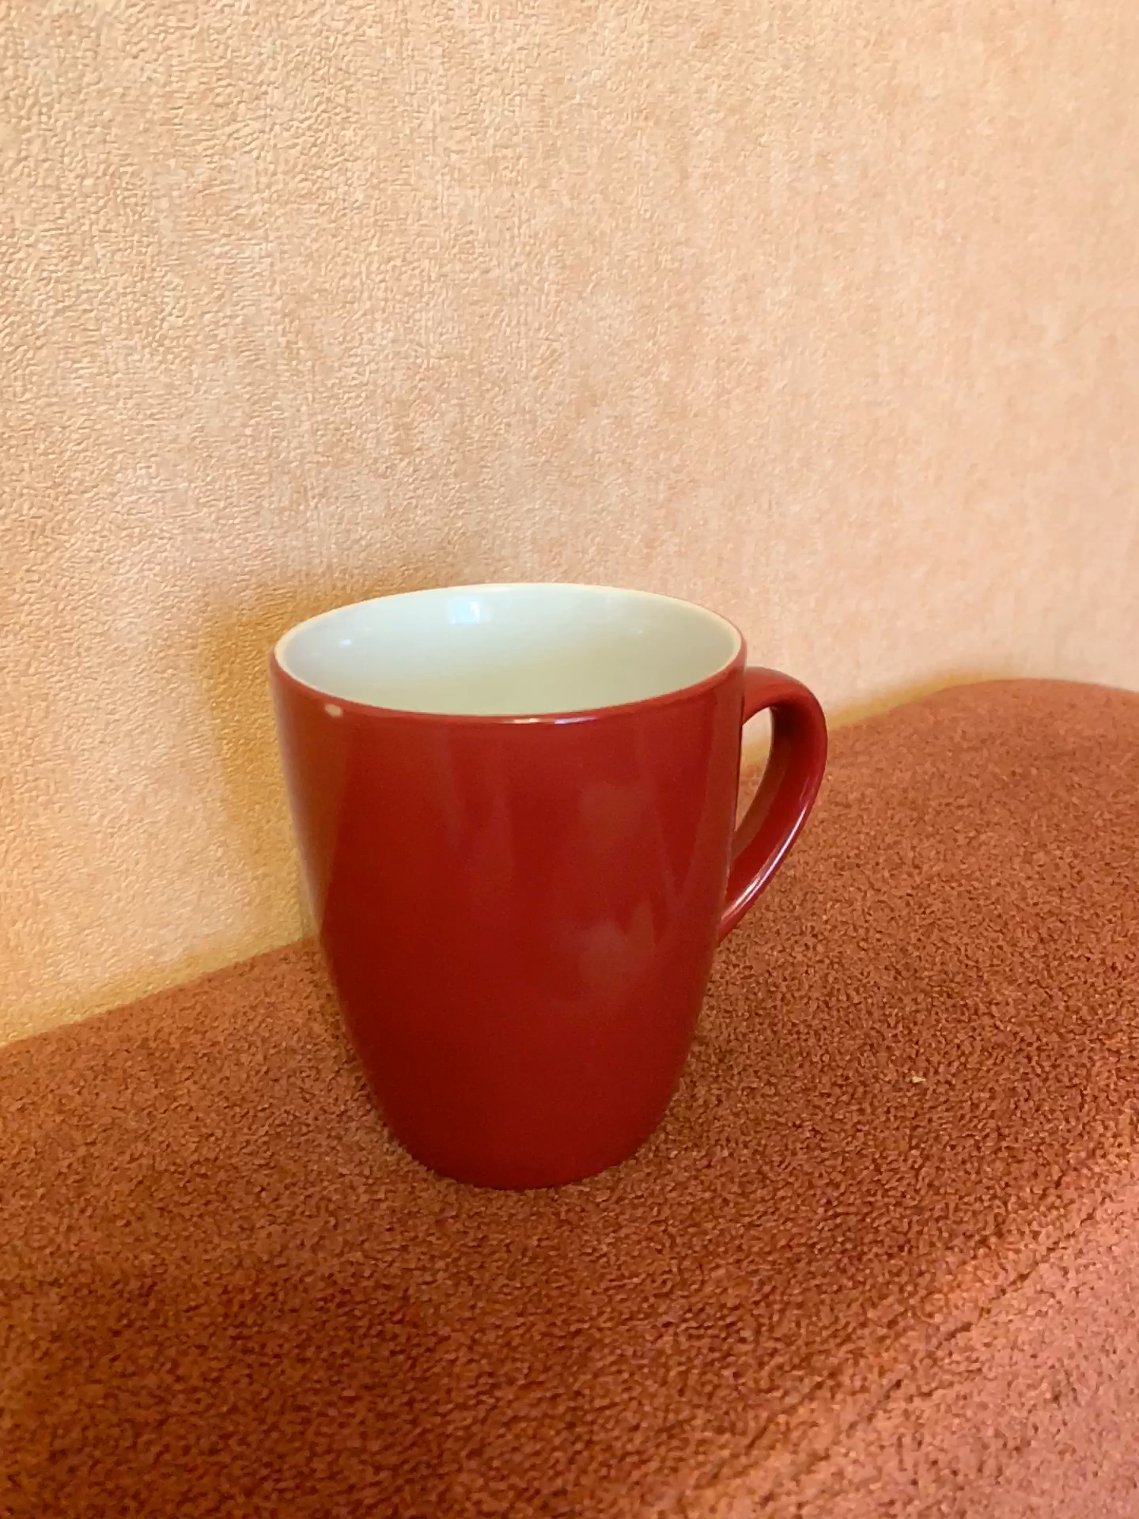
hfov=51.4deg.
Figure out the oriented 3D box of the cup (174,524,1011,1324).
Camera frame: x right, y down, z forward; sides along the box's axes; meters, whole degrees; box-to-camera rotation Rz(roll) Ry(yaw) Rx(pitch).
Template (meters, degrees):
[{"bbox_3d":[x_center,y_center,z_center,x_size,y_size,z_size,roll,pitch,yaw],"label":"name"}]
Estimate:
[{"bbox_3d":[0.005,0.016,0.226,0.122,0.091,0.083,-16,28,-30],"label":"cup"}]
